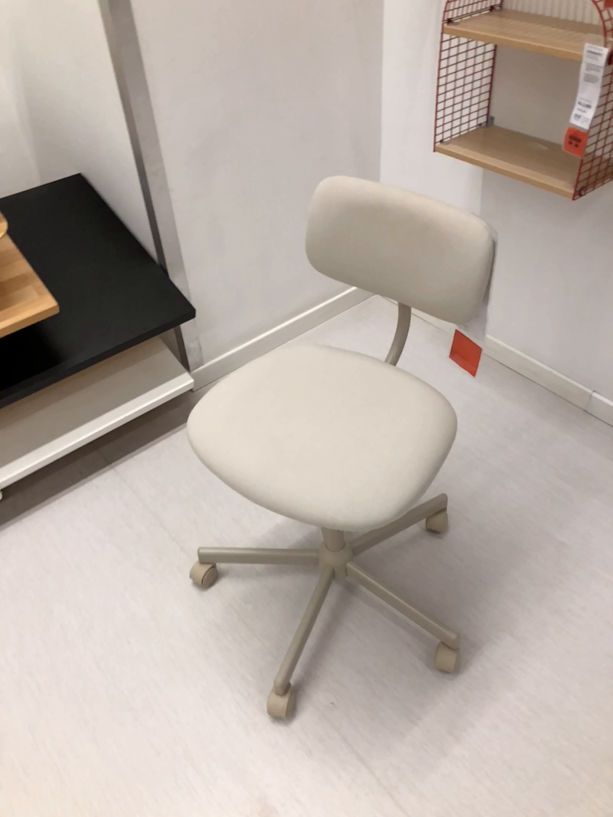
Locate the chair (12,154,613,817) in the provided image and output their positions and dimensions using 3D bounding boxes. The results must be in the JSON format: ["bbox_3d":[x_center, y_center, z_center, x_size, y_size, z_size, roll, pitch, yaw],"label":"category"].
[{"bbox_3d":[0.078,0.097,1.228,0.642,0.765,0.693,25,50,29],"label":"chair"}]
